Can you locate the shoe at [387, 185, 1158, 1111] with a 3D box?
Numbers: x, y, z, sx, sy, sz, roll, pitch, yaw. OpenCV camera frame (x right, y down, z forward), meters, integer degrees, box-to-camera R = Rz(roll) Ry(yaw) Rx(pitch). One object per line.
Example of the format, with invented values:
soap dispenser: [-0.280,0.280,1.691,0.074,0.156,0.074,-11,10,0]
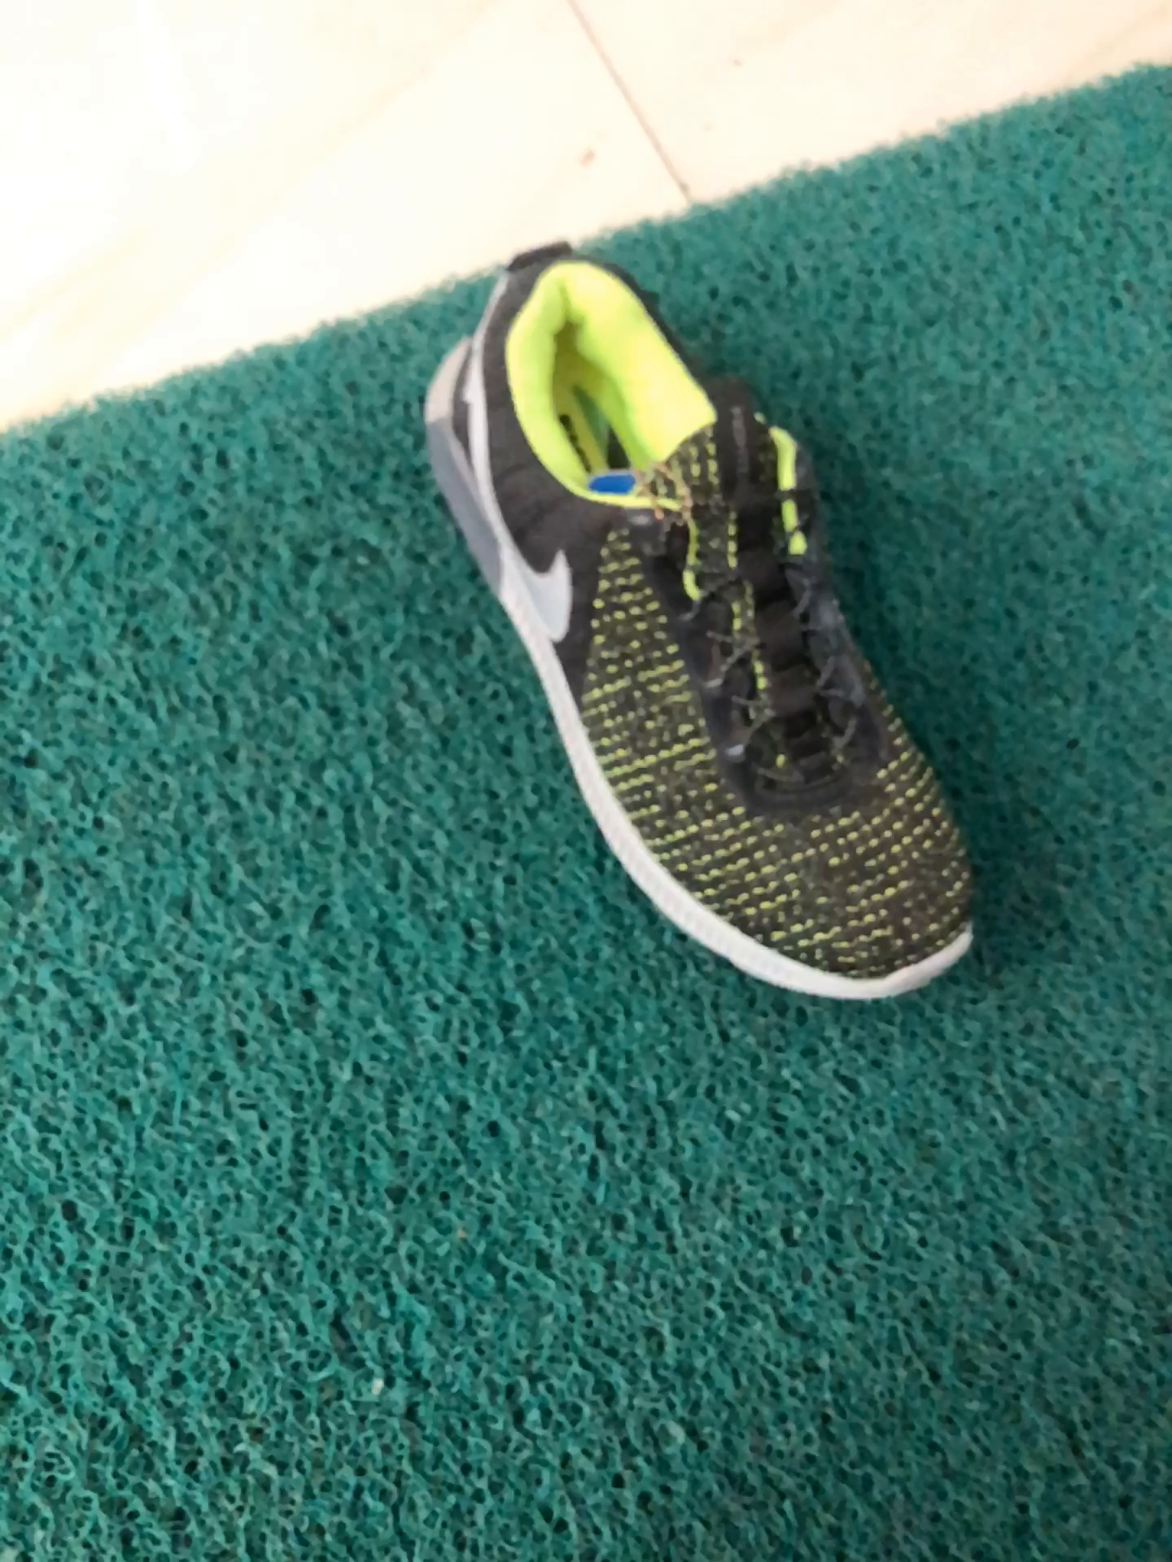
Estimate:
shoe: [0.044,-0.045,0.430,0.110,0.090,0.270,-25,76,-16]
